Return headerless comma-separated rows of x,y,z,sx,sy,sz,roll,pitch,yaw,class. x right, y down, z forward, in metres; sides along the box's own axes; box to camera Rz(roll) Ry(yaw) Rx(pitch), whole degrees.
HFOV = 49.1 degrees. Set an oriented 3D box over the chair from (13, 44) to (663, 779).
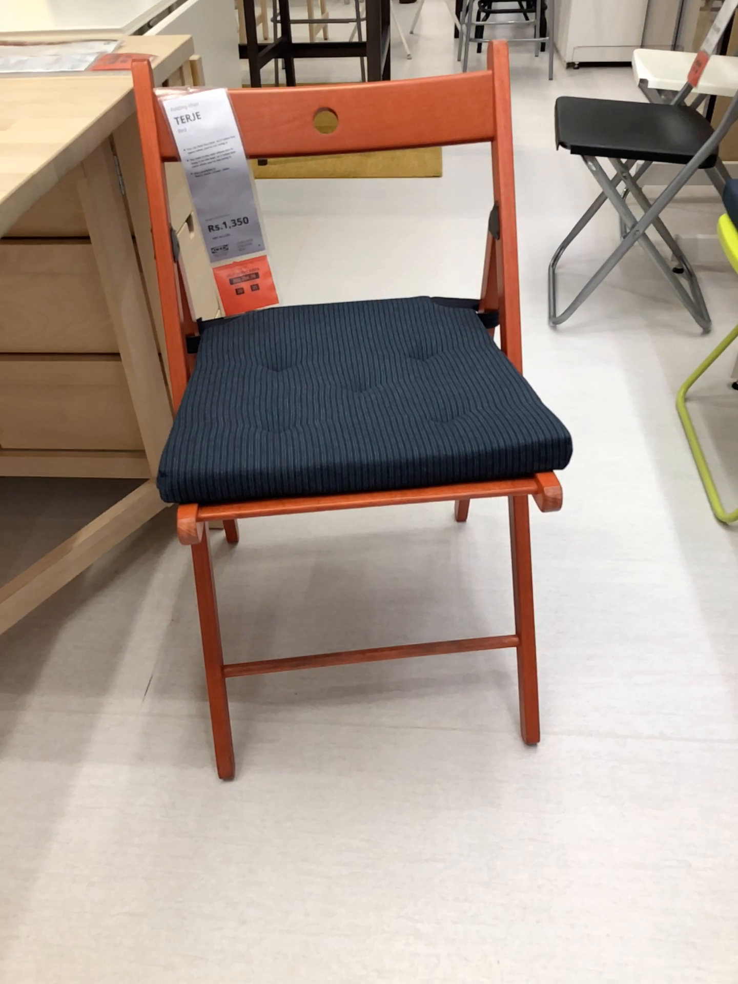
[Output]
-0.029,-0.091,1.003,0.470,0.715,0.504,-4,39,-3,chair
